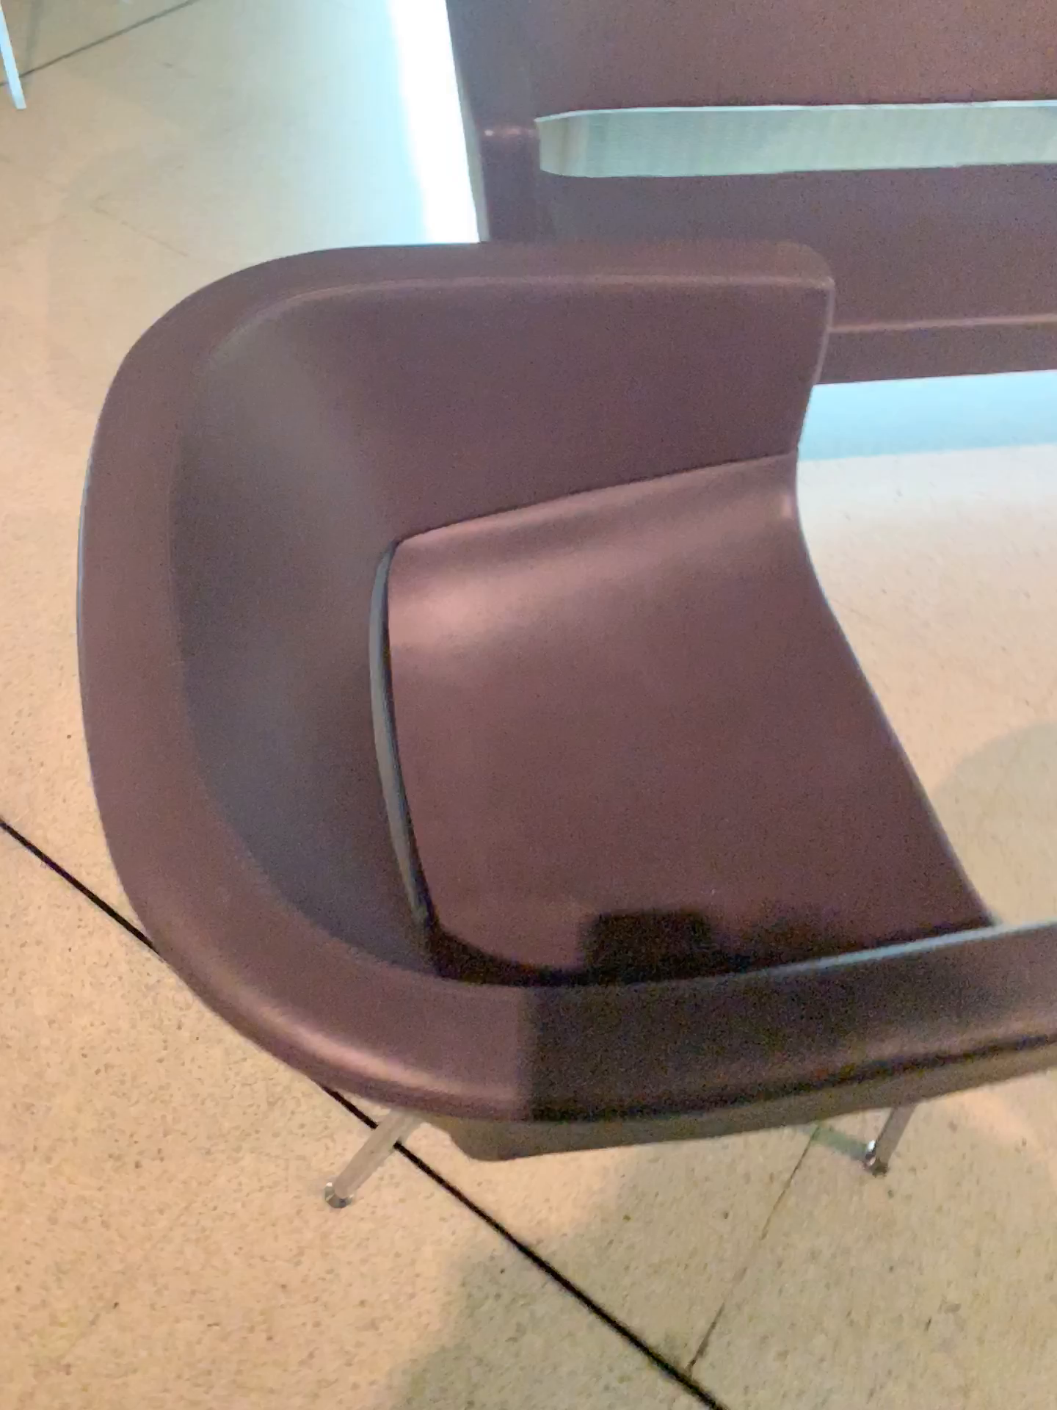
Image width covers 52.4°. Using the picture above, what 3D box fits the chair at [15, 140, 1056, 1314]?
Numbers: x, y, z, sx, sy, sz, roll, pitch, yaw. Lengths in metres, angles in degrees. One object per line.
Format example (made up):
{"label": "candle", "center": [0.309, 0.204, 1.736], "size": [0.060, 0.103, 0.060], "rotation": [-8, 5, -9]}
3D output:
{"label": "chair", "center": [0.073, 0.033, 0.998], "size": [0.750, 0.714, 0.736], "rotation": [-7, 55, -8]}
